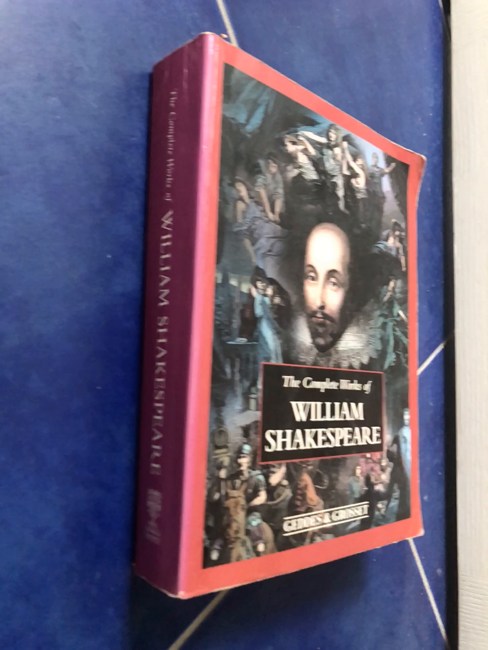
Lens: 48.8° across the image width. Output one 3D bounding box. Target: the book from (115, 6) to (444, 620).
[{"bbox_3d":[0.040,-0.001,0.326,0.211,0.060,0.270,9,80,-42],"label":"book"}]
